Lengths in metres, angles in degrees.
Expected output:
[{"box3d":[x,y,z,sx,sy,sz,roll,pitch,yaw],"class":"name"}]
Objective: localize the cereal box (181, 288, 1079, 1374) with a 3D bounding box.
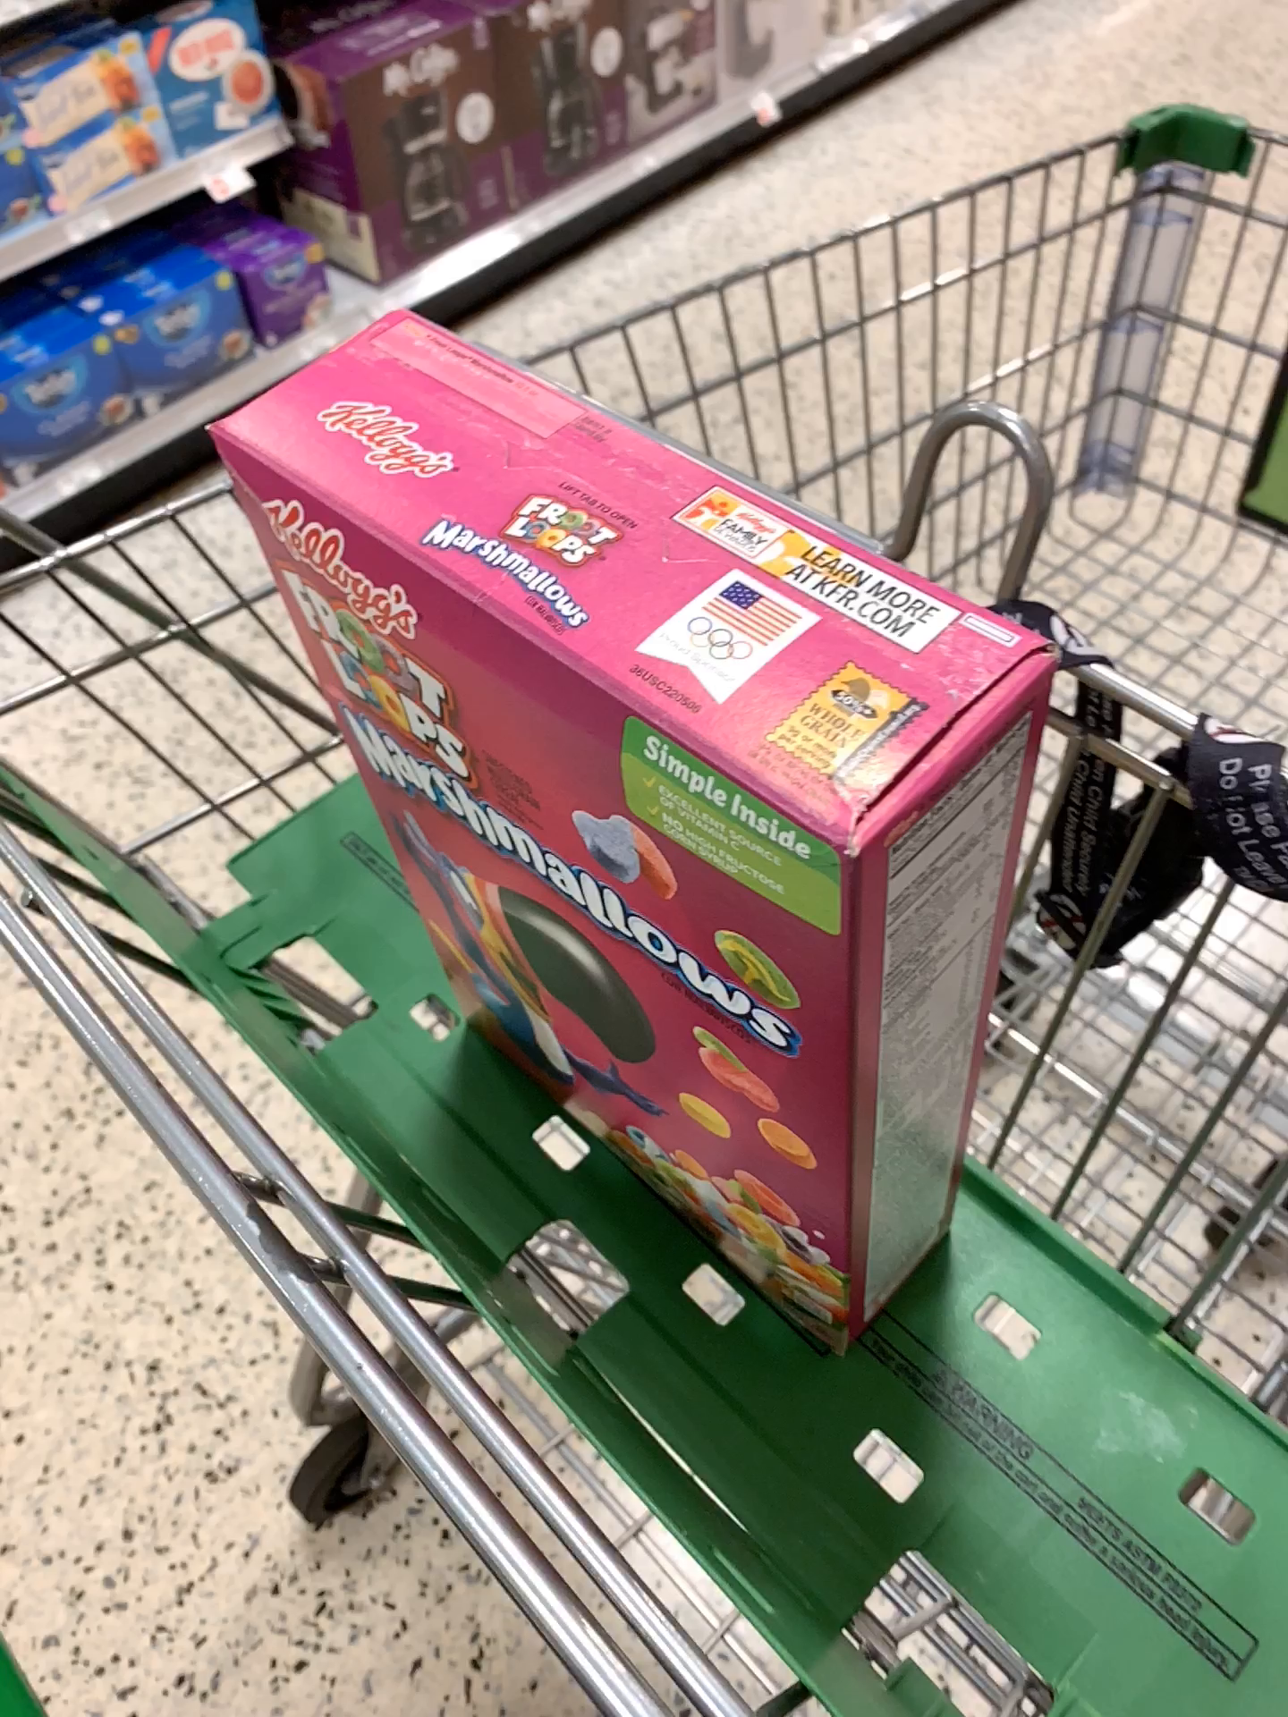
[{"box3d":[0.001,0.014,0.385,0.060,0.287,0.201,-41,59,-21],"class":"cereal box"}]
